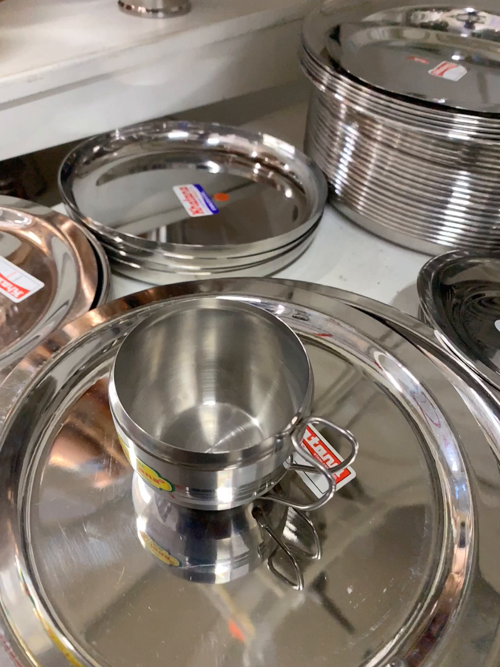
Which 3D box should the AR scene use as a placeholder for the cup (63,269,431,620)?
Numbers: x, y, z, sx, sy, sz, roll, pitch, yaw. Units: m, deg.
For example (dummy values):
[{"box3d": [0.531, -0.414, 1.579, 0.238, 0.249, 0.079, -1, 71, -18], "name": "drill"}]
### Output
[{"box3d": [-0.001, 0.029, 0.175, 0.090, 0.040, 0.070, 30, 51, 24], "name": "cup"}]
